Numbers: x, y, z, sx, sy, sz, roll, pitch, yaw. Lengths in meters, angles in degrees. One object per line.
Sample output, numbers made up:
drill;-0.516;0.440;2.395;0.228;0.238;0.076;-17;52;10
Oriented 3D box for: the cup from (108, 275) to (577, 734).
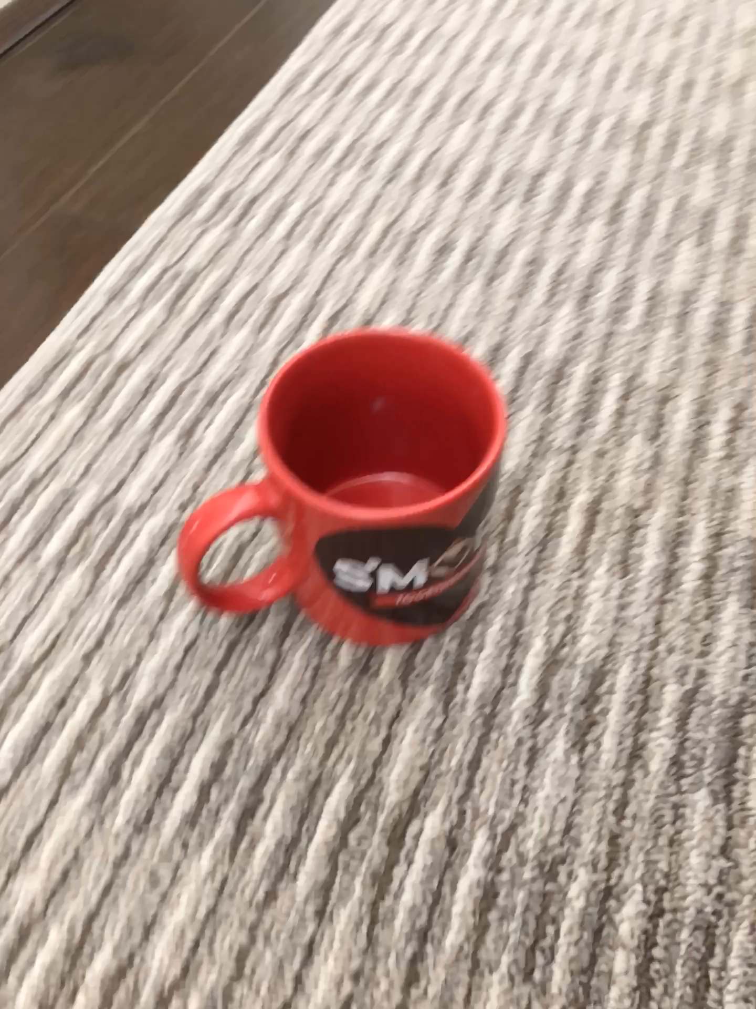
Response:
cup;-0.016;0.000;0.373;0.150;0.119;0.111;-22;56;-15
